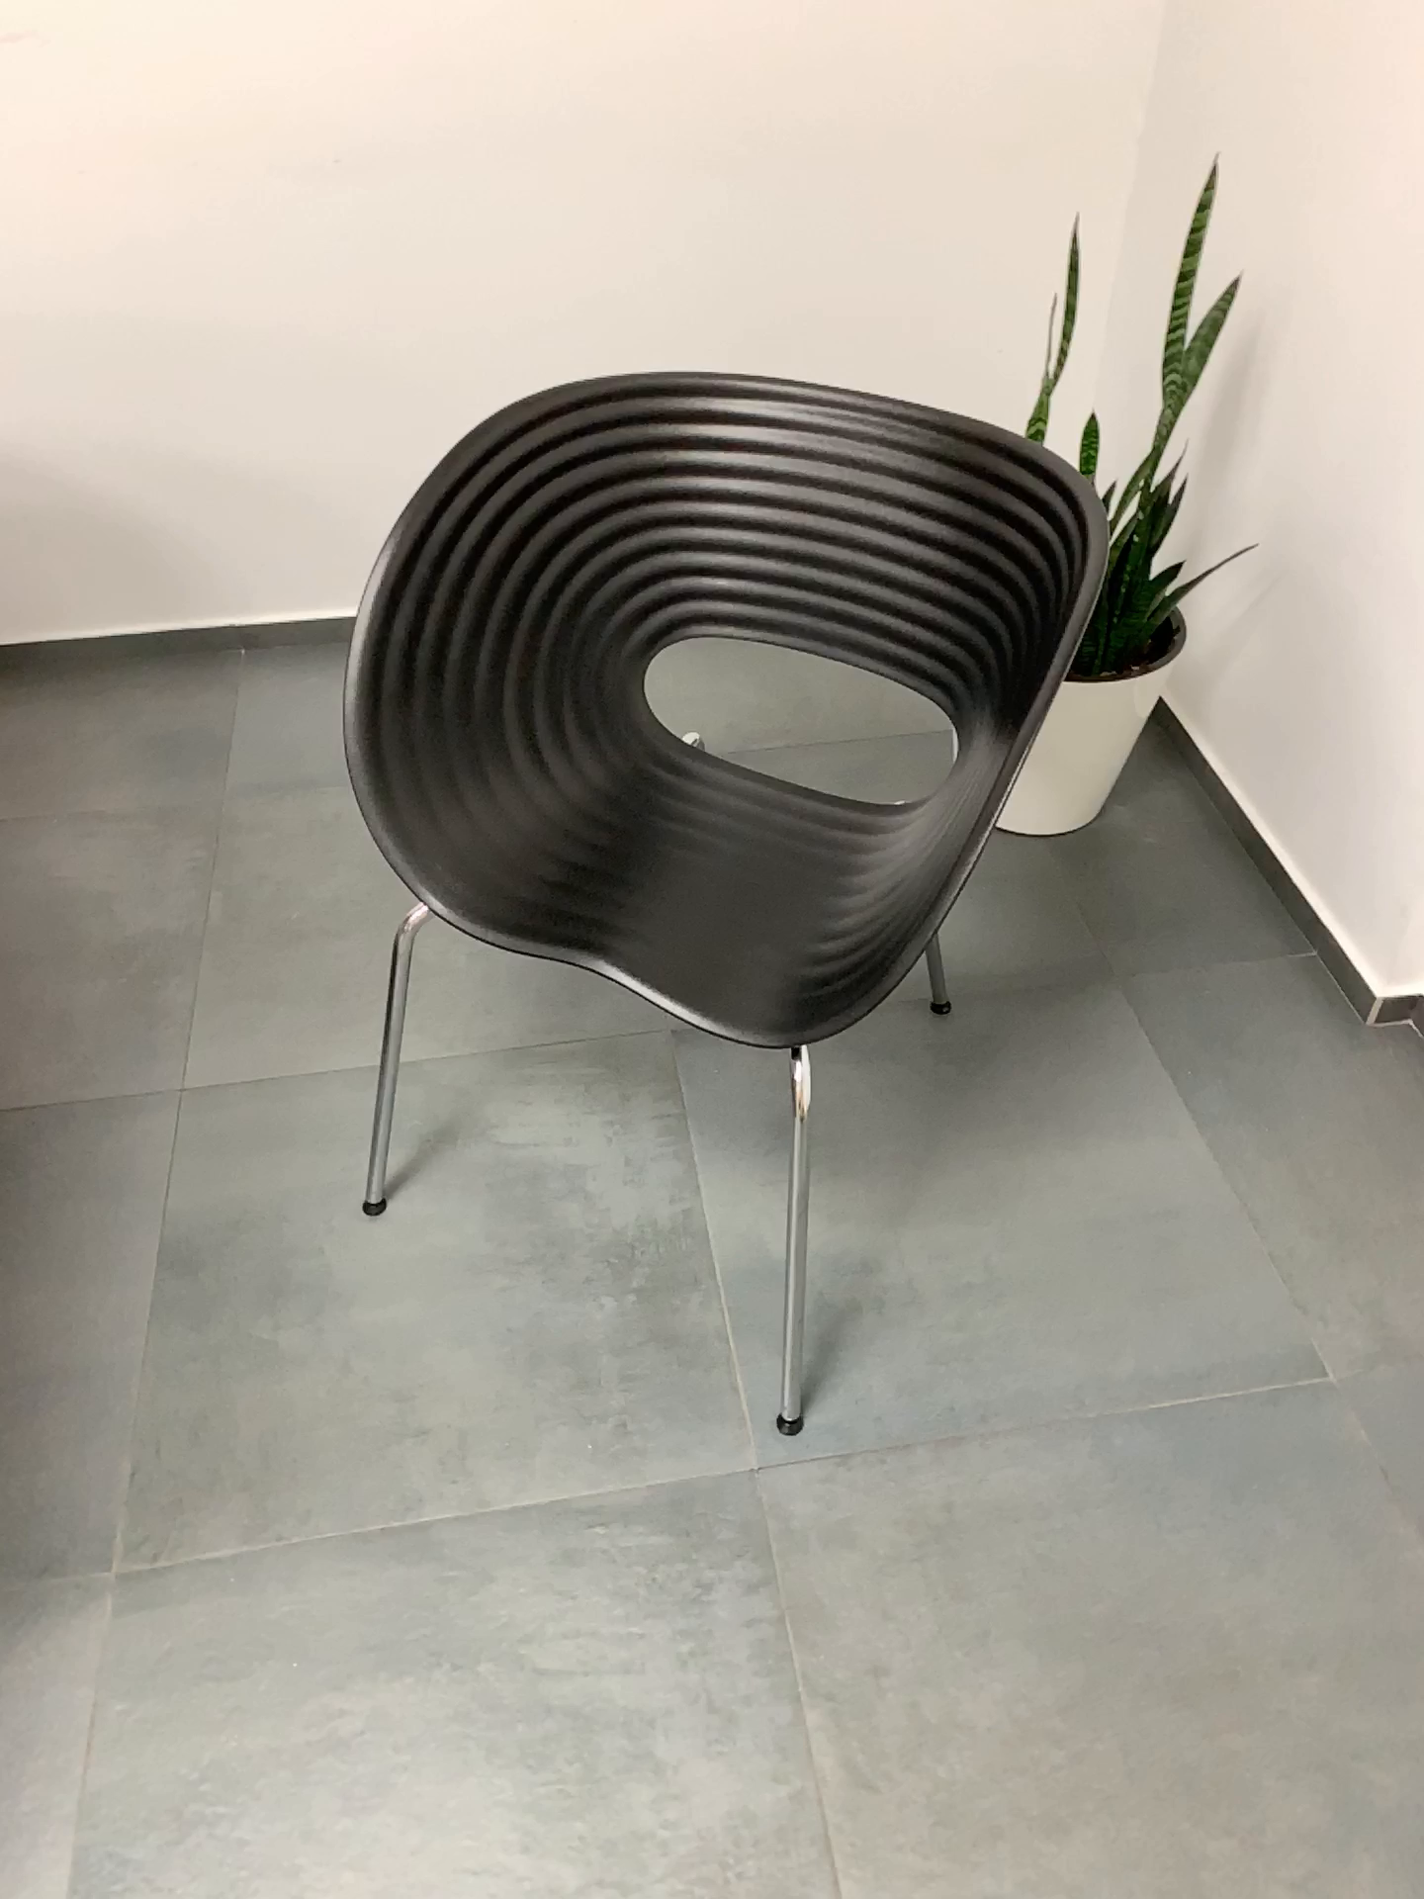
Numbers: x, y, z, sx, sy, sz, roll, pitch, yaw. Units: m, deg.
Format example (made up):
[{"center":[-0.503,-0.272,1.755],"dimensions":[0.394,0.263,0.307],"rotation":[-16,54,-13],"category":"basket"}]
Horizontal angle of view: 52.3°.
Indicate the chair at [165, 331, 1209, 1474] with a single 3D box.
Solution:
[{"center":[0.009,-0.072,1.499],"dimensions":[0.651,0.796,0.643],"rotation":[22,46,22],"category":"chair"}]
